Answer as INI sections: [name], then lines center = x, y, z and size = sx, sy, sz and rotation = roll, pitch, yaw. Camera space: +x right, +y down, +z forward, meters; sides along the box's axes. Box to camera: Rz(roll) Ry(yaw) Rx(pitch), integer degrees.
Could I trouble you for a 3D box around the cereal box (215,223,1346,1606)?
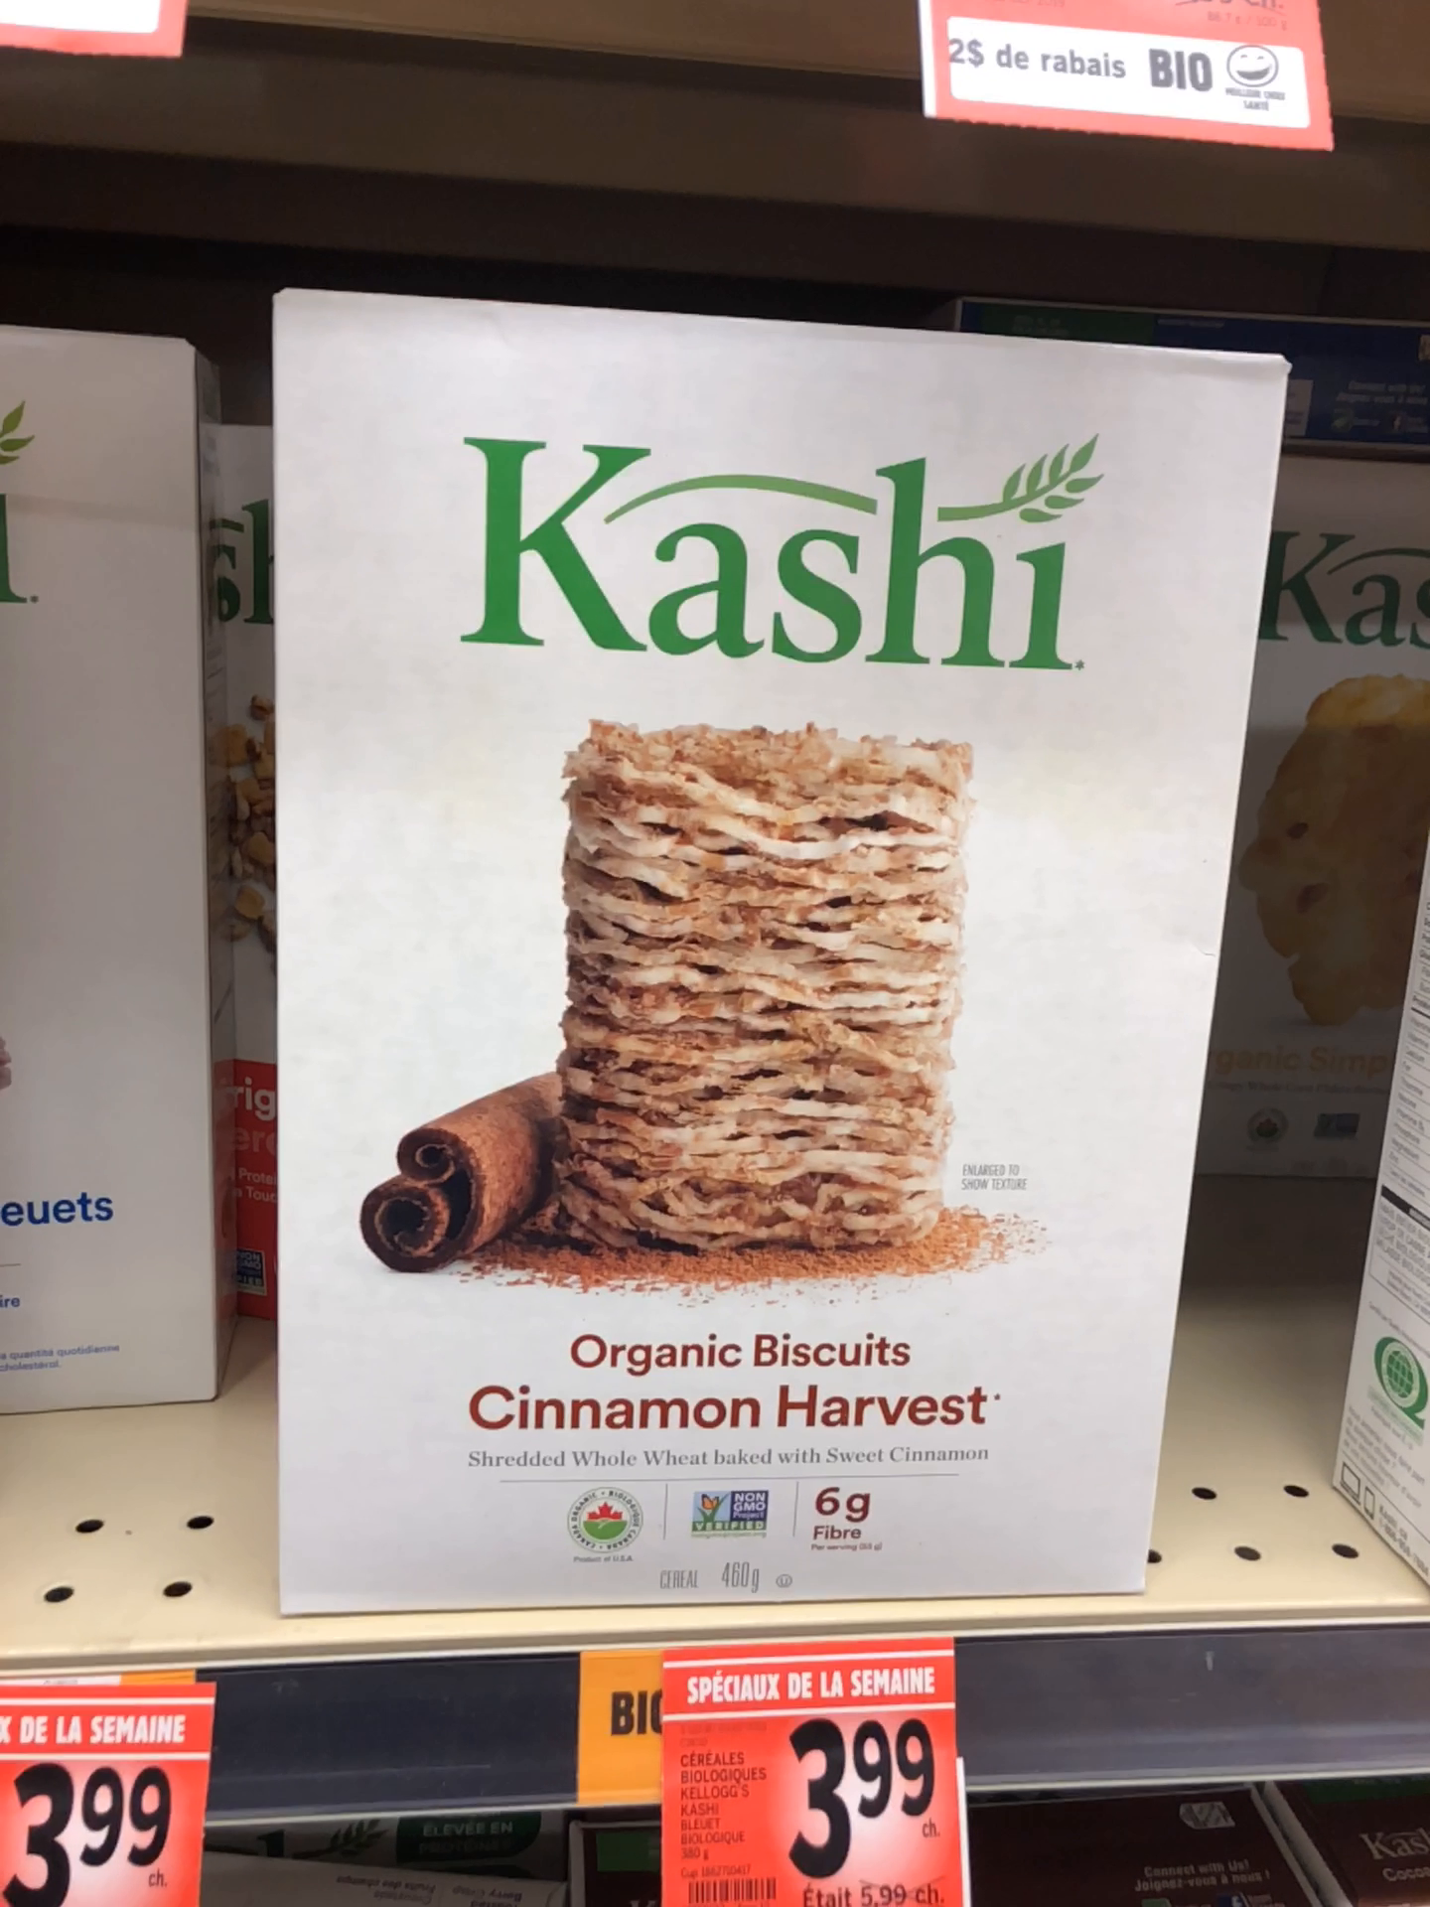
[cereal box]
center = 0.006, 0.000, 0.343
size = 0.200, 0.269, 0.070
rotation = 1, 14, -6
